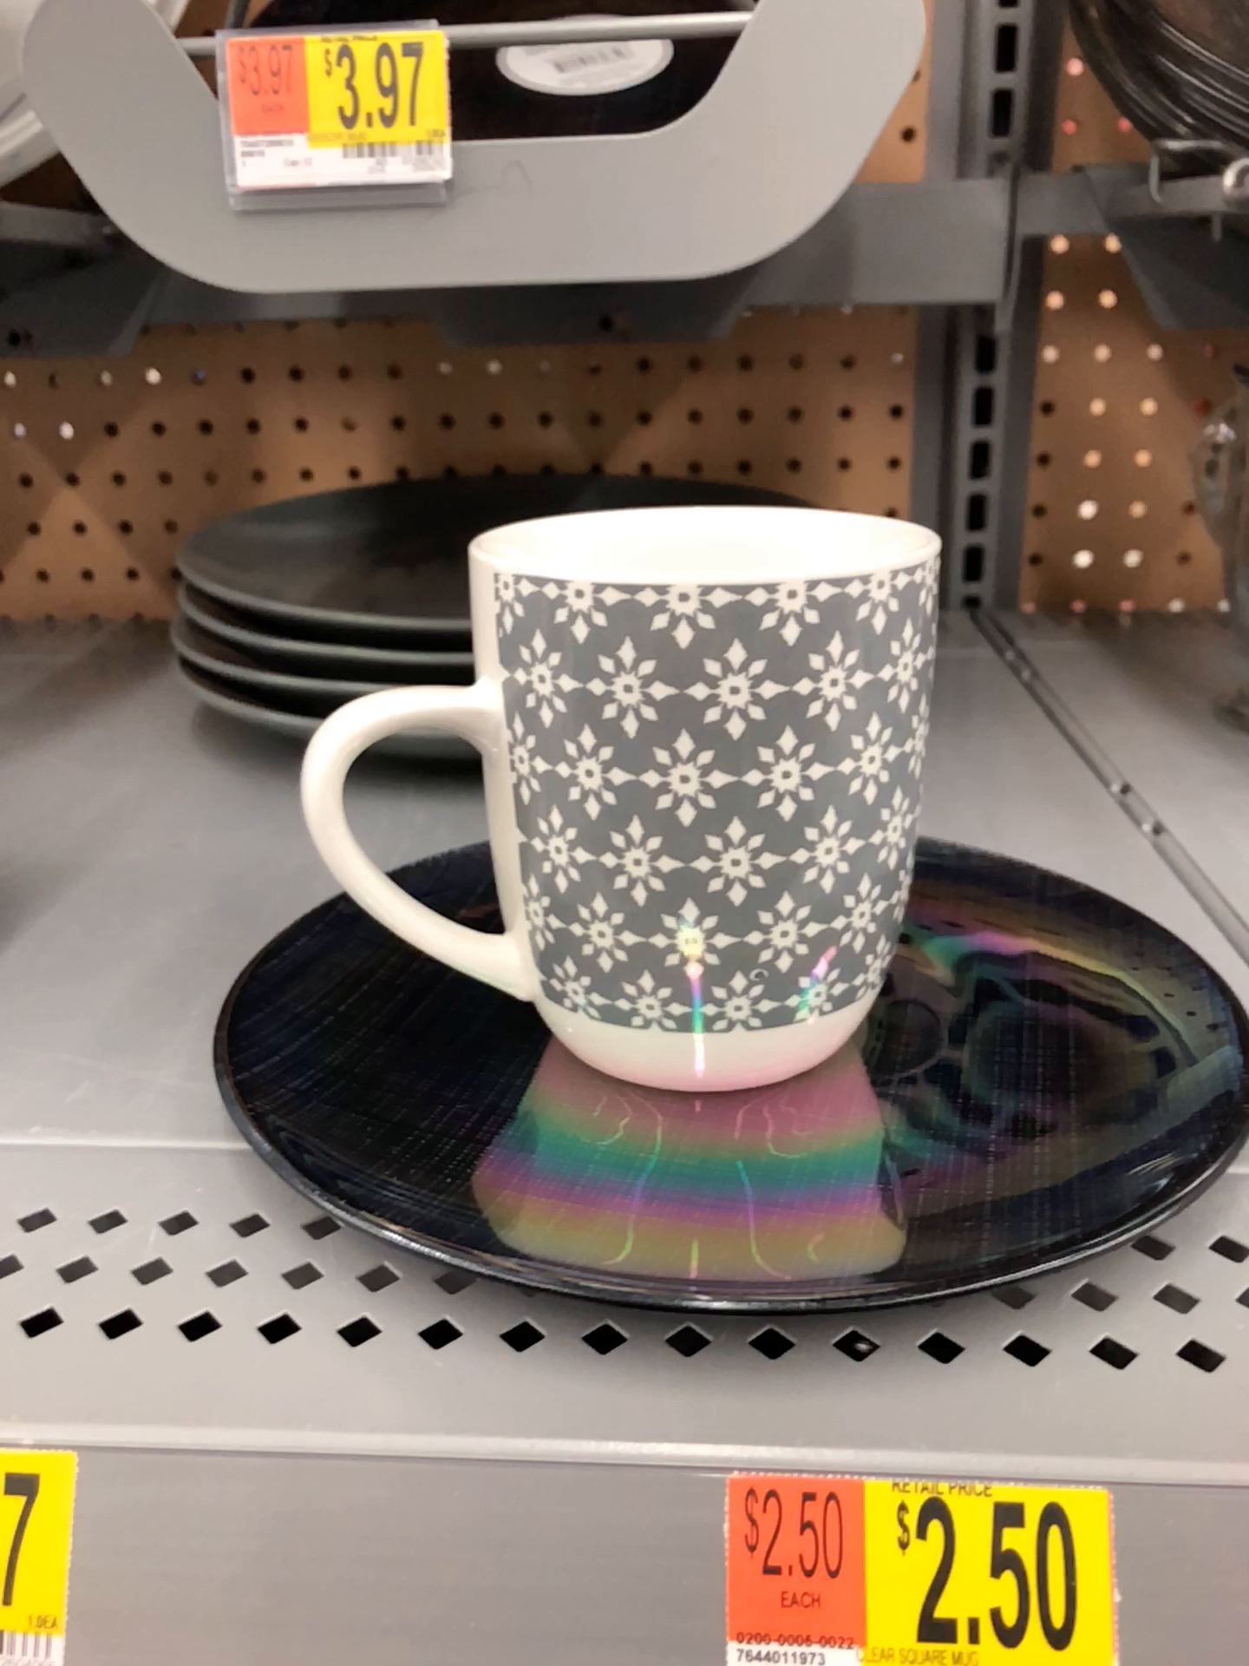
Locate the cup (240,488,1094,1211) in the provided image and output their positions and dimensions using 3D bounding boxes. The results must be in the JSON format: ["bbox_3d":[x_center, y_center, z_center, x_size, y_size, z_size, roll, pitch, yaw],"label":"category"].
[{"bbox_3d":[0.002,-0.008,0.268,0.129,0.096,0.094,-8,21,-17],"label":"cup"}]
